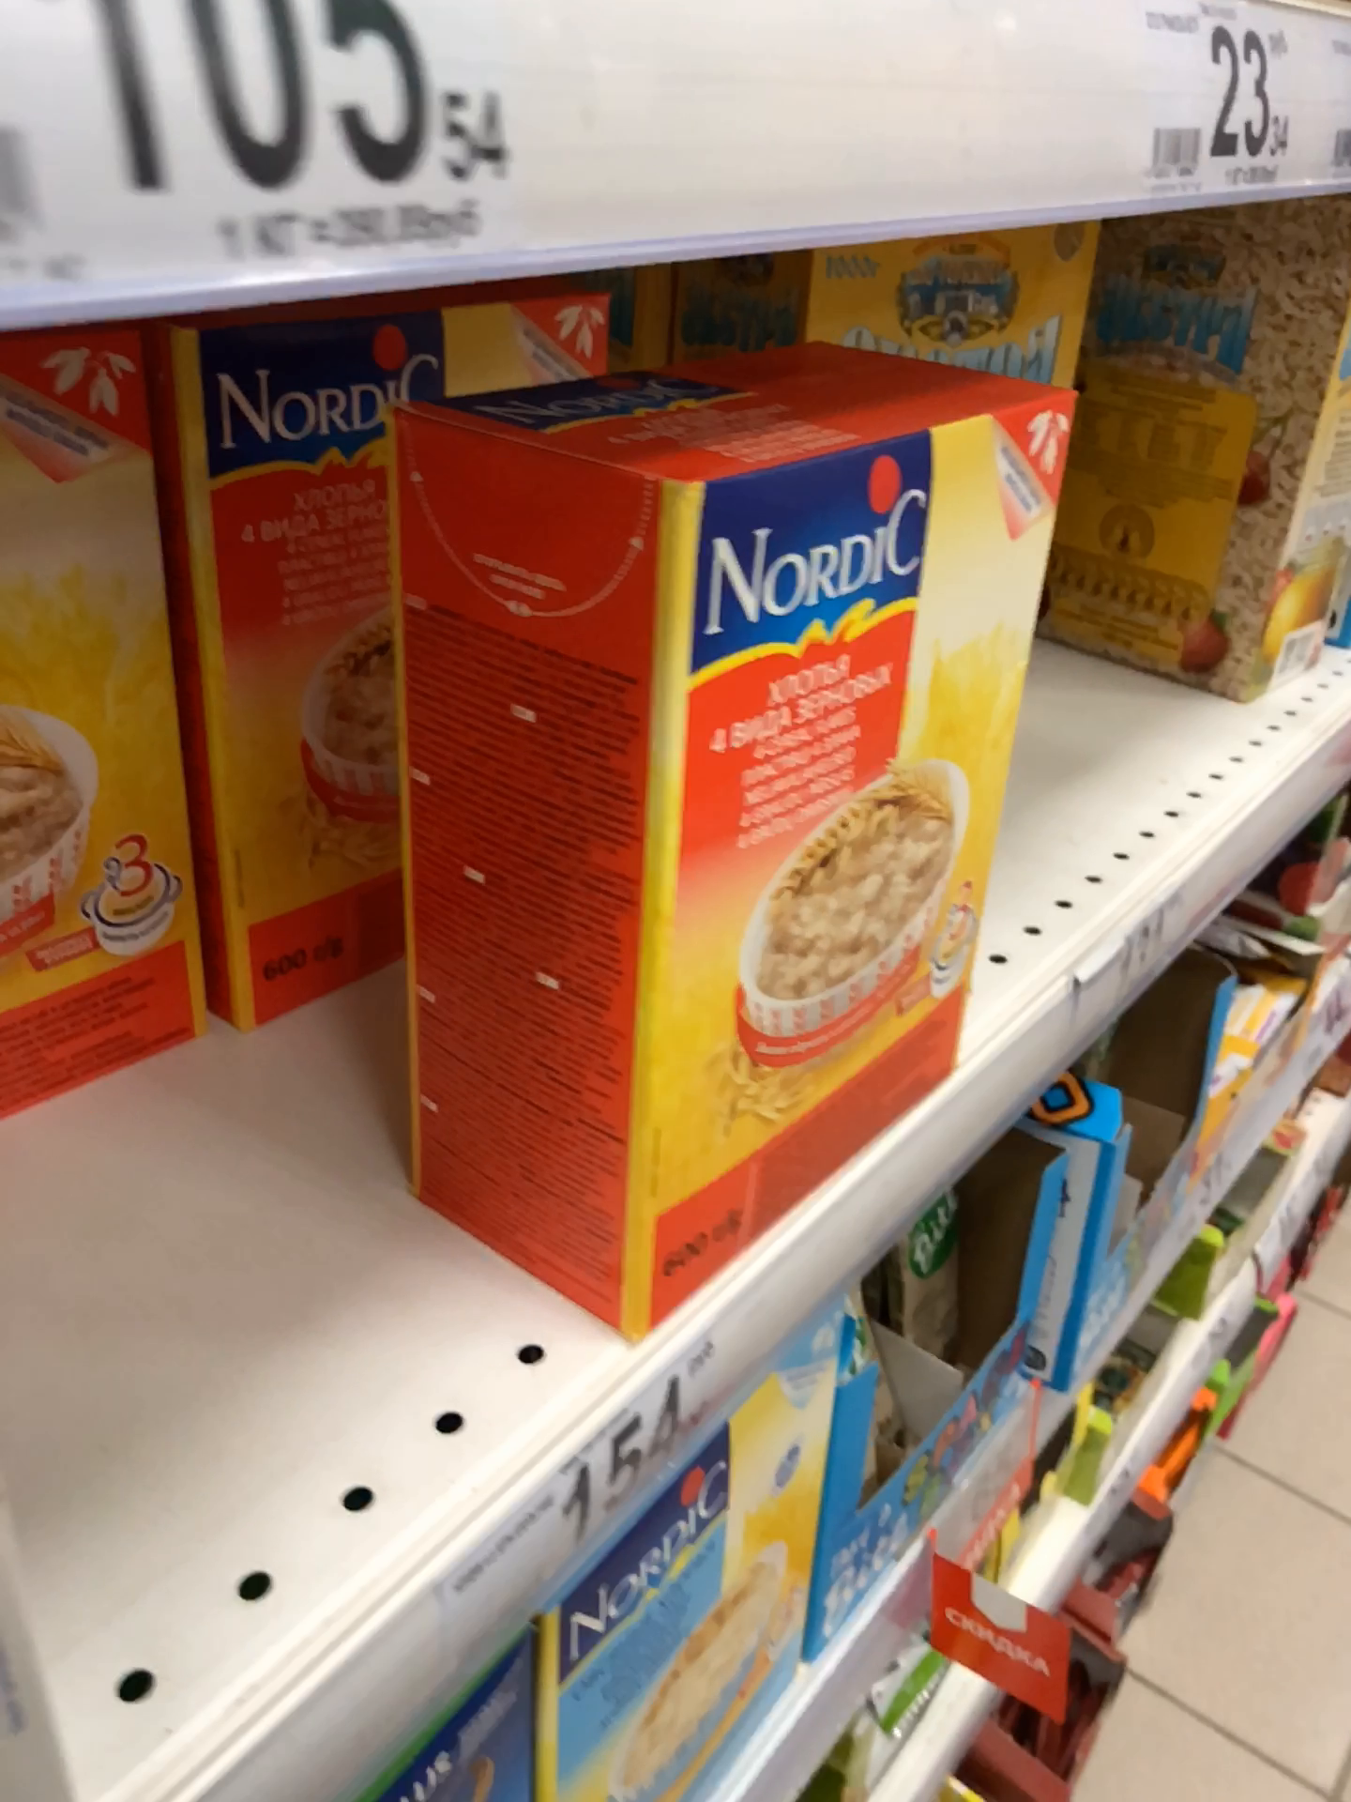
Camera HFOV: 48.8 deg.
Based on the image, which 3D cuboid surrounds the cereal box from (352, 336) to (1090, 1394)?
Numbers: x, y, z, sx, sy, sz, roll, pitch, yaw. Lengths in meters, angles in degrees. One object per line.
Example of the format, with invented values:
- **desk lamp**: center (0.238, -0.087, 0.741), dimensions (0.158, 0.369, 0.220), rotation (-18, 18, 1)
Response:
- **cereal box**: center (0.012, -0.018, 0.357), dimensions (0.080, 0.199, 0.151), rotation (23, 34, 31)
